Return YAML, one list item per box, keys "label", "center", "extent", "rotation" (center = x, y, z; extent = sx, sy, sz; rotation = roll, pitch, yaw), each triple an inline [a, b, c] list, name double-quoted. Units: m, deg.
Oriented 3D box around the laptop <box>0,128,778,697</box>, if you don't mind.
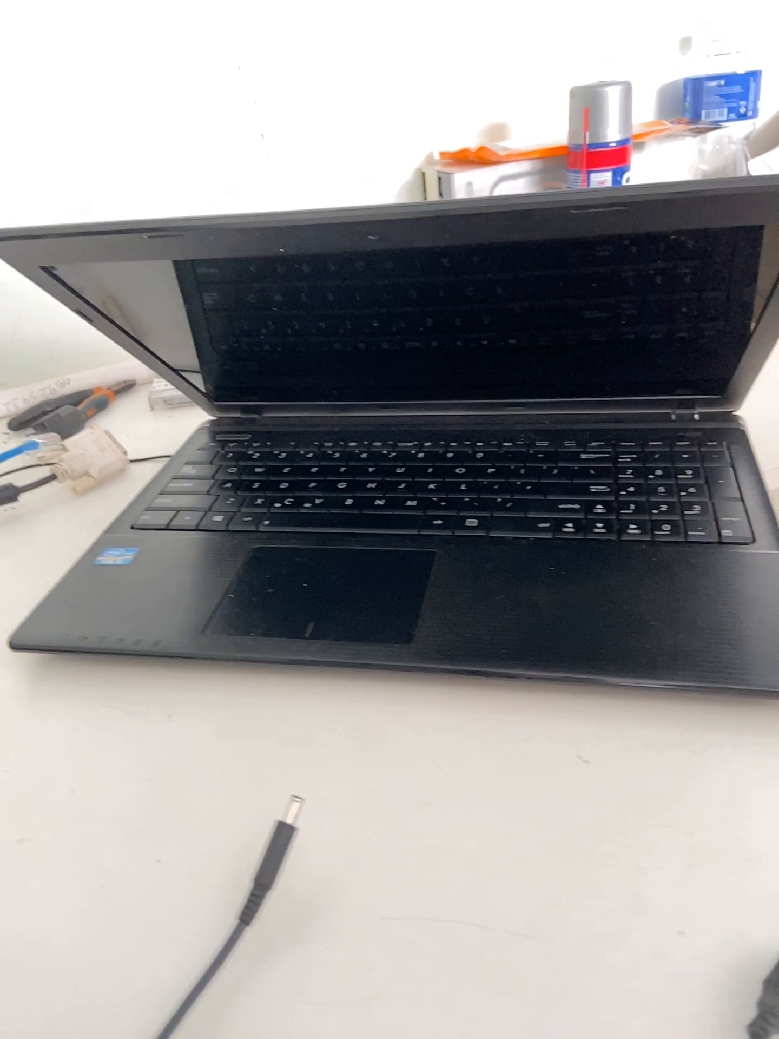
- label: "laptop"
  center: [0.009, -0.075, 0.420]
  extent: [0.375, 0.166, 0.248]
  rotation: [1, 33, 14]
